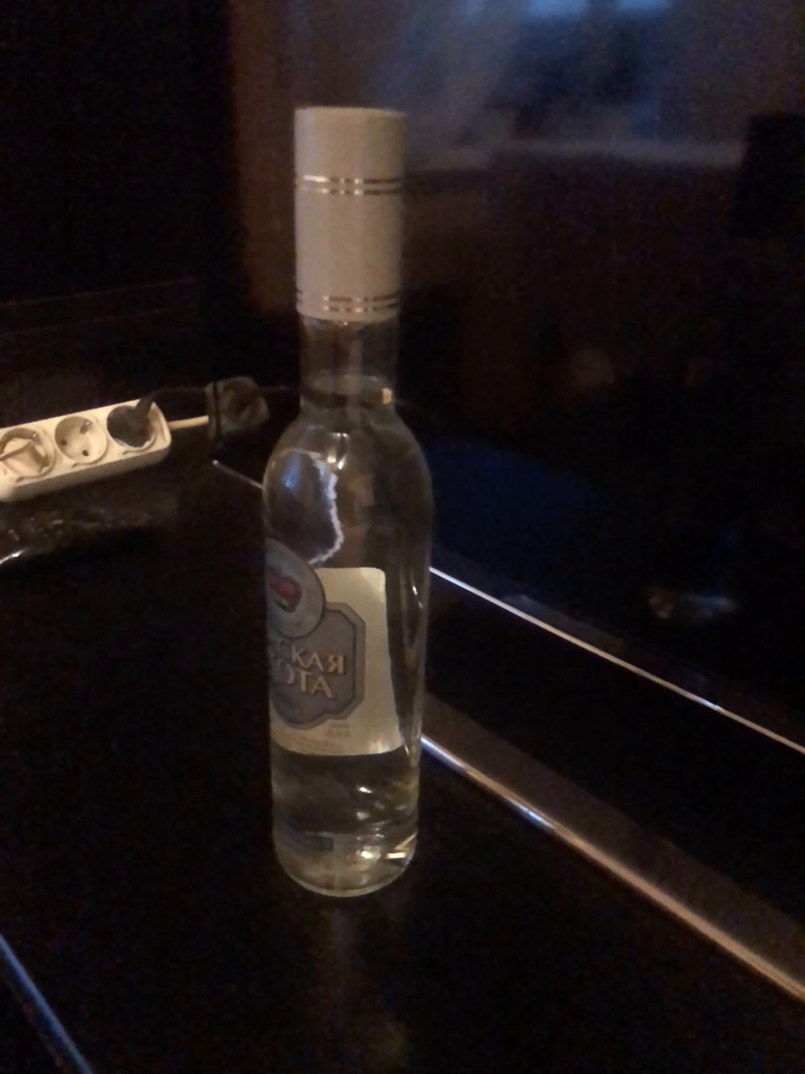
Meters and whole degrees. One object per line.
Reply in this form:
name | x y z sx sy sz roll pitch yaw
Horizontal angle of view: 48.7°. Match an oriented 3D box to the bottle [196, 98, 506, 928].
bottle | -0.019 0.001 0.327 0.067 0.290 0.064 1 25 -1
